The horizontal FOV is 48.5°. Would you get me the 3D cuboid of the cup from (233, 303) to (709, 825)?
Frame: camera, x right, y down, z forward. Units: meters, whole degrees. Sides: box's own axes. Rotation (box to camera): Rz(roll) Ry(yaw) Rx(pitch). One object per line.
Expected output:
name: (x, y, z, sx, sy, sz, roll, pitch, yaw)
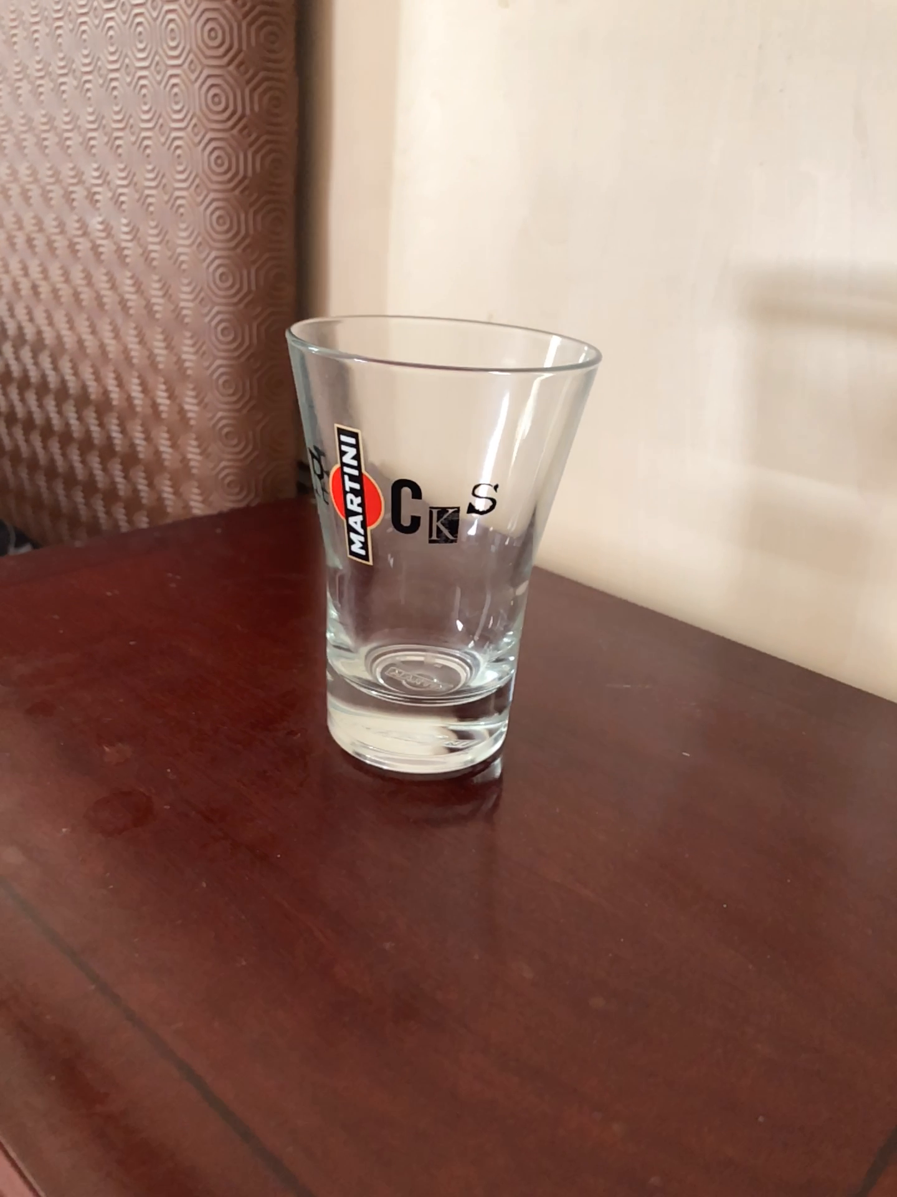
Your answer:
cup: (0.002, -0.021, 0.299, 0.095, 0.118, 0.094, 4, 22, -2)
